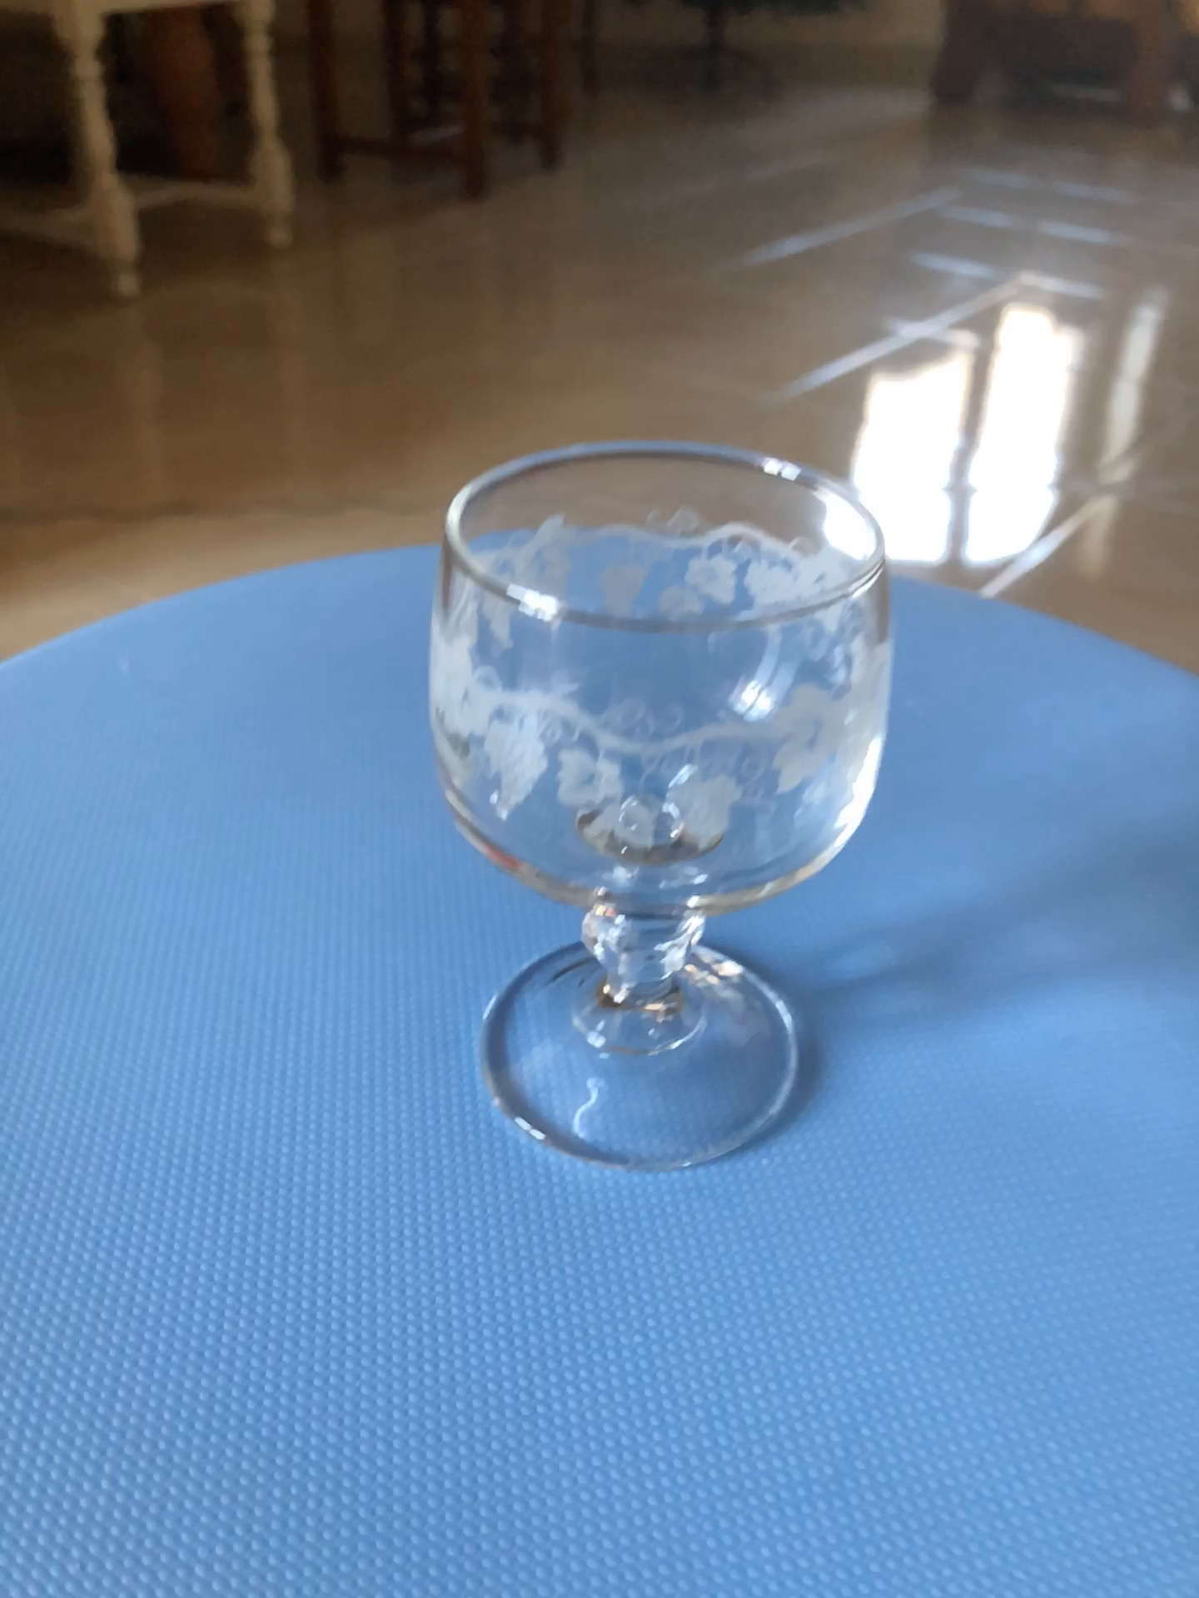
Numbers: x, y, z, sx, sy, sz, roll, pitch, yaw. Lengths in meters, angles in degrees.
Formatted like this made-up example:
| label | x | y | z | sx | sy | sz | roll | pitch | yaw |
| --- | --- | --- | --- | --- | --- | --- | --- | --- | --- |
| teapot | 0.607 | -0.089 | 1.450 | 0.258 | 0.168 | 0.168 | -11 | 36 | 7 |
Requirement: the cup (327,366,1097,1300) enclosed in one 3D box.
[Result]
| label | x | y | z | sx | sy | sz | roll | pitch | yaw |
| --- | --- | --- | --- | --- | --- | --- | --- | --- | --- |
| cup | 0.013 | 0.000 | 0.164 | 0.060 | 0.080 | 0.060 | 1 | 34 | -1 |
